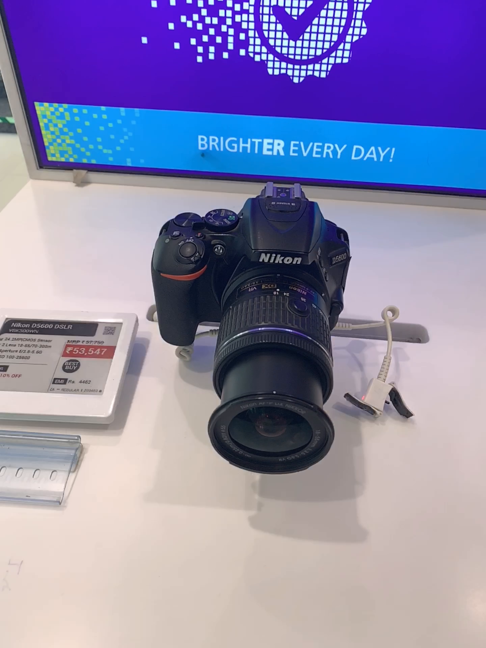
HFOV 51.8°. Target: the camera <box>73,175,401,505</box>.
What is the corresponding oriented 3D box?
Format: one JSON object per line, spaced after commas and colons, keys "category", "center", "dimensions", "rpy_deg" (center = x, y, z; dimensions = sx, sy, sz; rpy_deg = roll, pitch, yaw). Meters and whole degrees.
{"category": "camera", "center": [0.000, 0.001, 0.263], "dimensions": [0.116, 0.100, 0.142], "rpy_deg": [2, 41, 1]}
